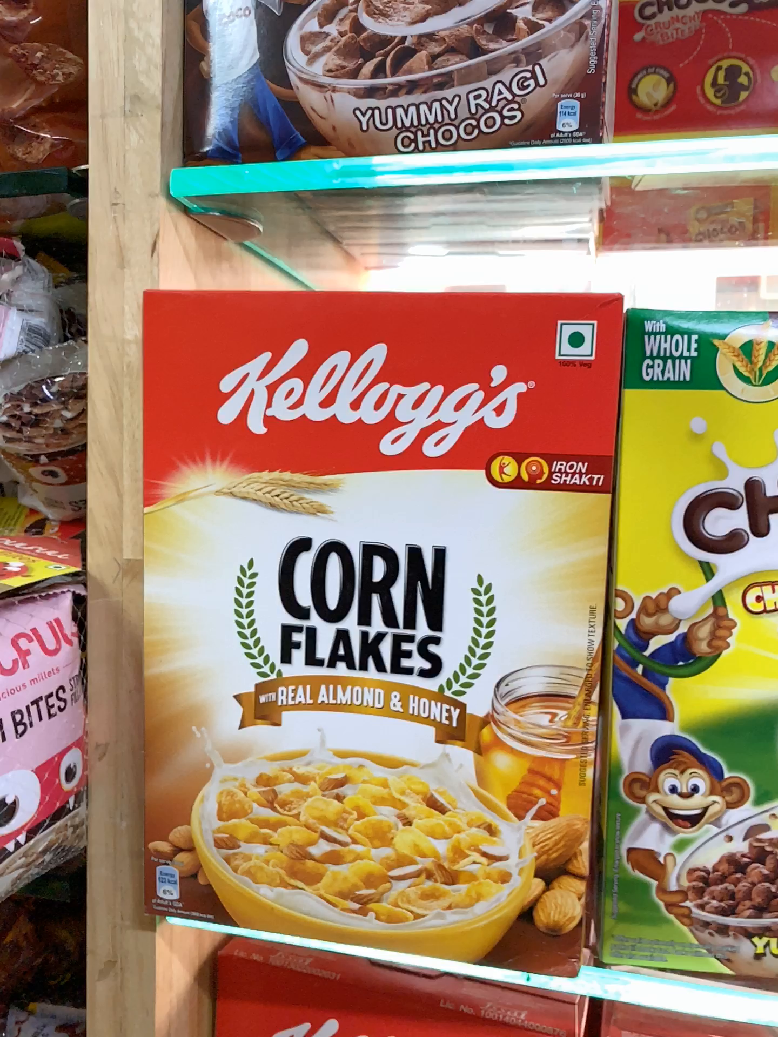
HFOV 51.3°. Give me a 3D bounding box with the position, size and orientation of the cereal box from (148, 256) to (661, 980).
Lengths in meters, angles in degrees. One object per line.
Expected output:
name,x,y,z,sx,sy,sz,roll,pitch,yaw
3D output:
cereal box,0.003,0.029,0.313,0.170,0.239,0.070,3,7,11
